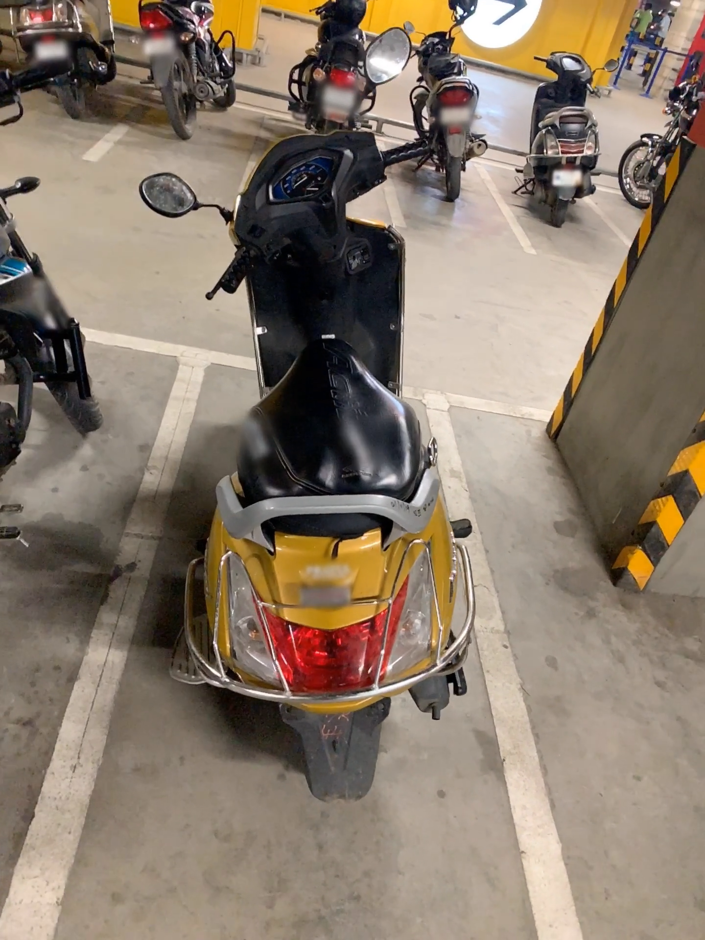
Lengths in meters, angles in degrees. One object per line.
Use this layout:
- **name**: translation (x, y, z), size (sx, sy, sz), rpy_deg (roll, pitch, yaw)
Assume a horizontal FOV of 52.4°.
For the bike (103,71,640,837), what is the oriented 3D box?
- **bike**: translation (-0.171, -0.177, 1.638), size (0.568, 0.993, 1.528), rpy_deg (5, 36, -14)
